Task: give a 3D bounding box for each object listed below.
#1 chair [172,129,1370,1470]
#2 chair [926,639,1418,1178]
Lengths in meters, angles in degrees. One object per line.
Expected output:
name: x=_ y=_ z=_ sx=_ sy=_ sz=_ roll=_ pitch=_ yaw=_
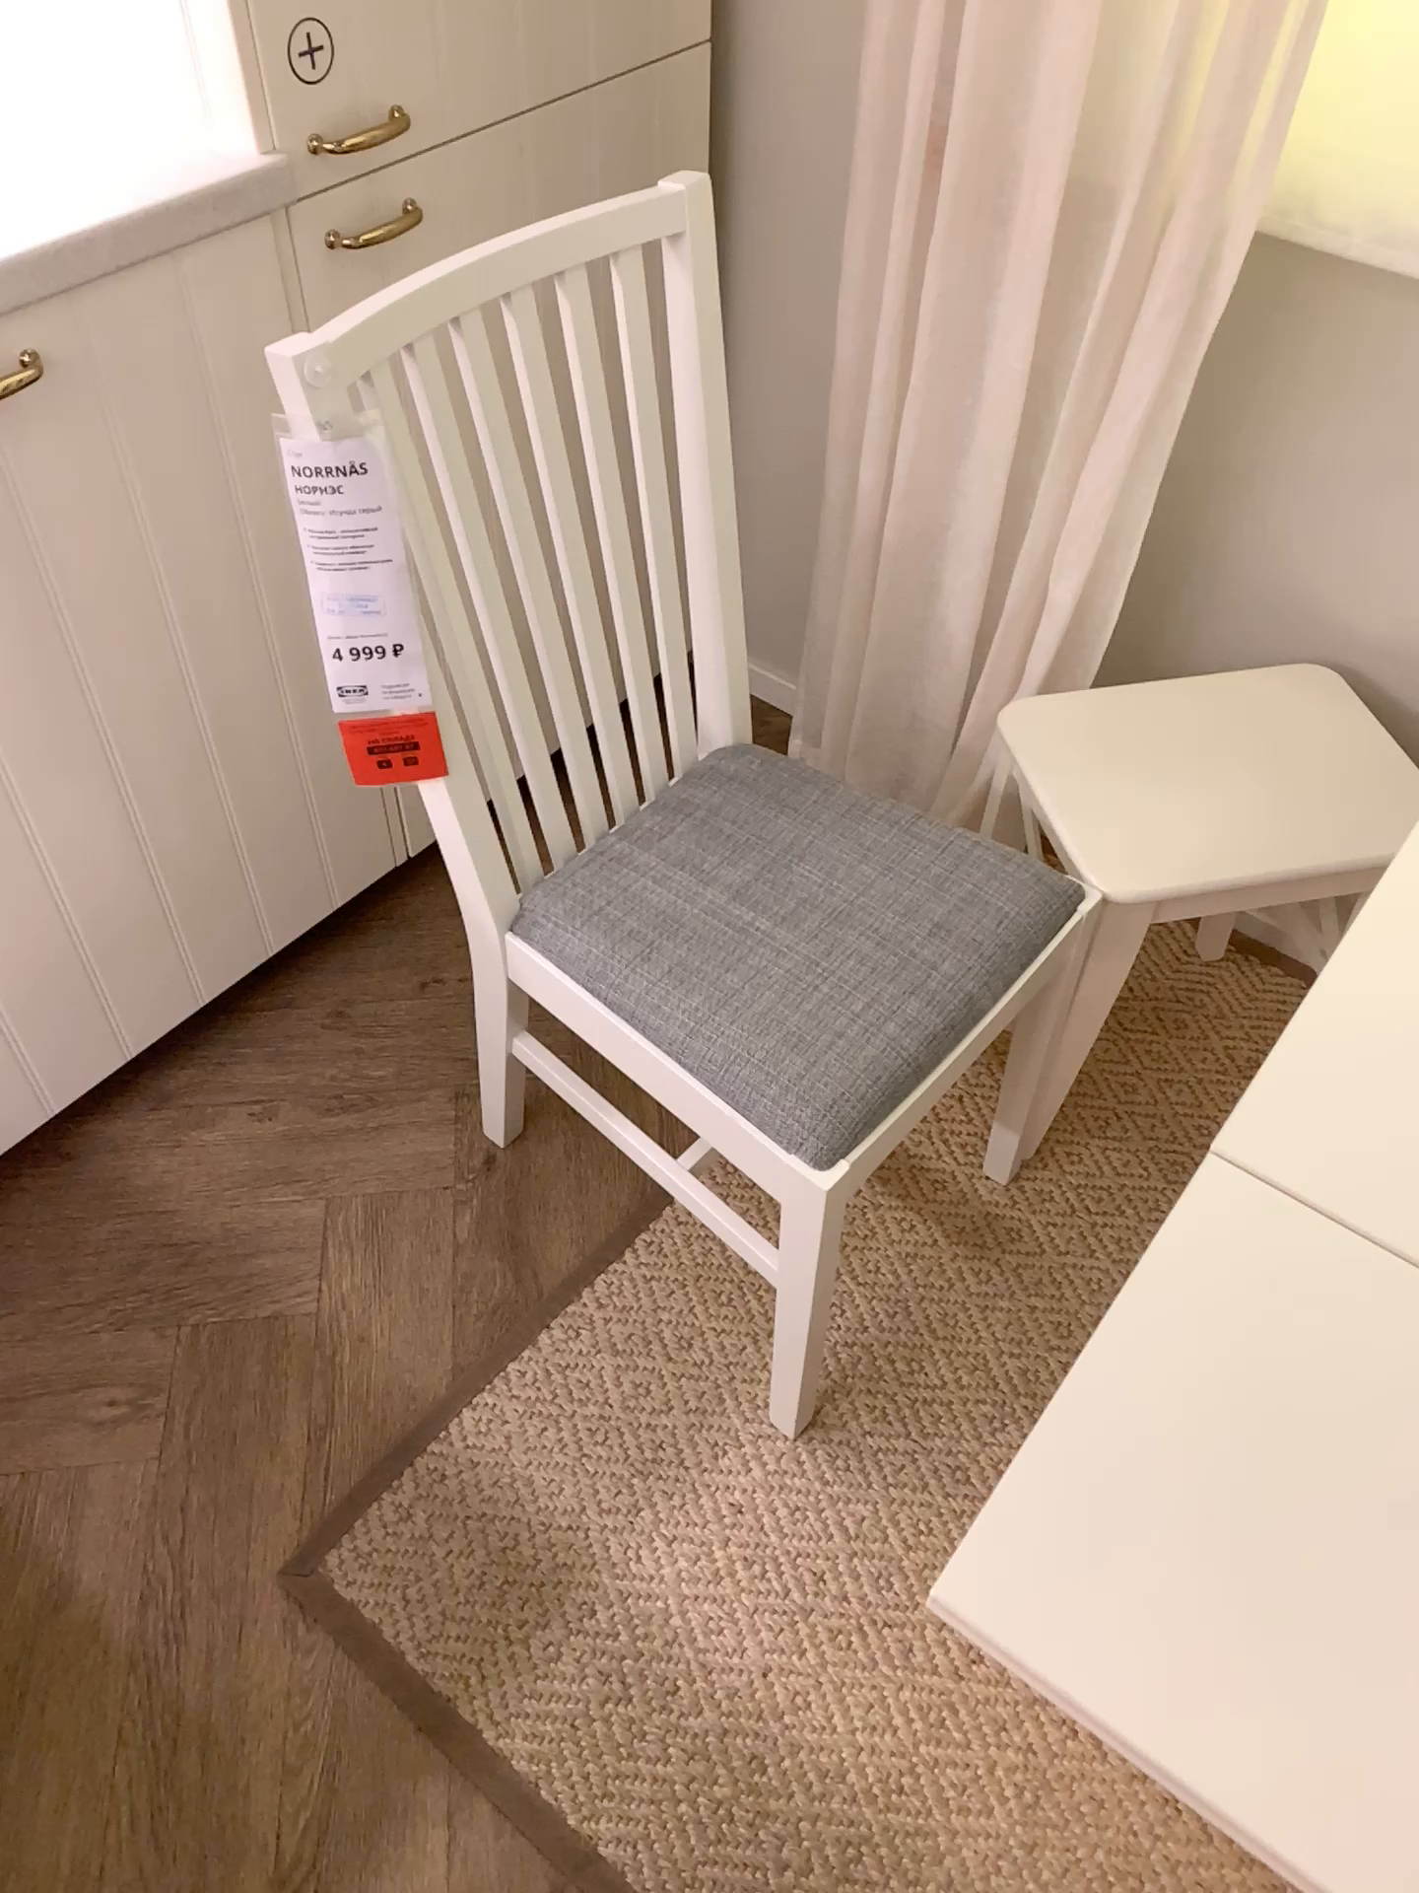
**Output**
chair: x=0.037 y=-0.106 z=1.337 sx=0.621 sy=0.916 sz=0.552 roll=33 pitch=55 yaw=25
chair: x=0.553 y=-0.047 z=1.645 sx=0.460 sy=0.388 sz=0.402 roll=-8 pitch=49 yaw=-9
